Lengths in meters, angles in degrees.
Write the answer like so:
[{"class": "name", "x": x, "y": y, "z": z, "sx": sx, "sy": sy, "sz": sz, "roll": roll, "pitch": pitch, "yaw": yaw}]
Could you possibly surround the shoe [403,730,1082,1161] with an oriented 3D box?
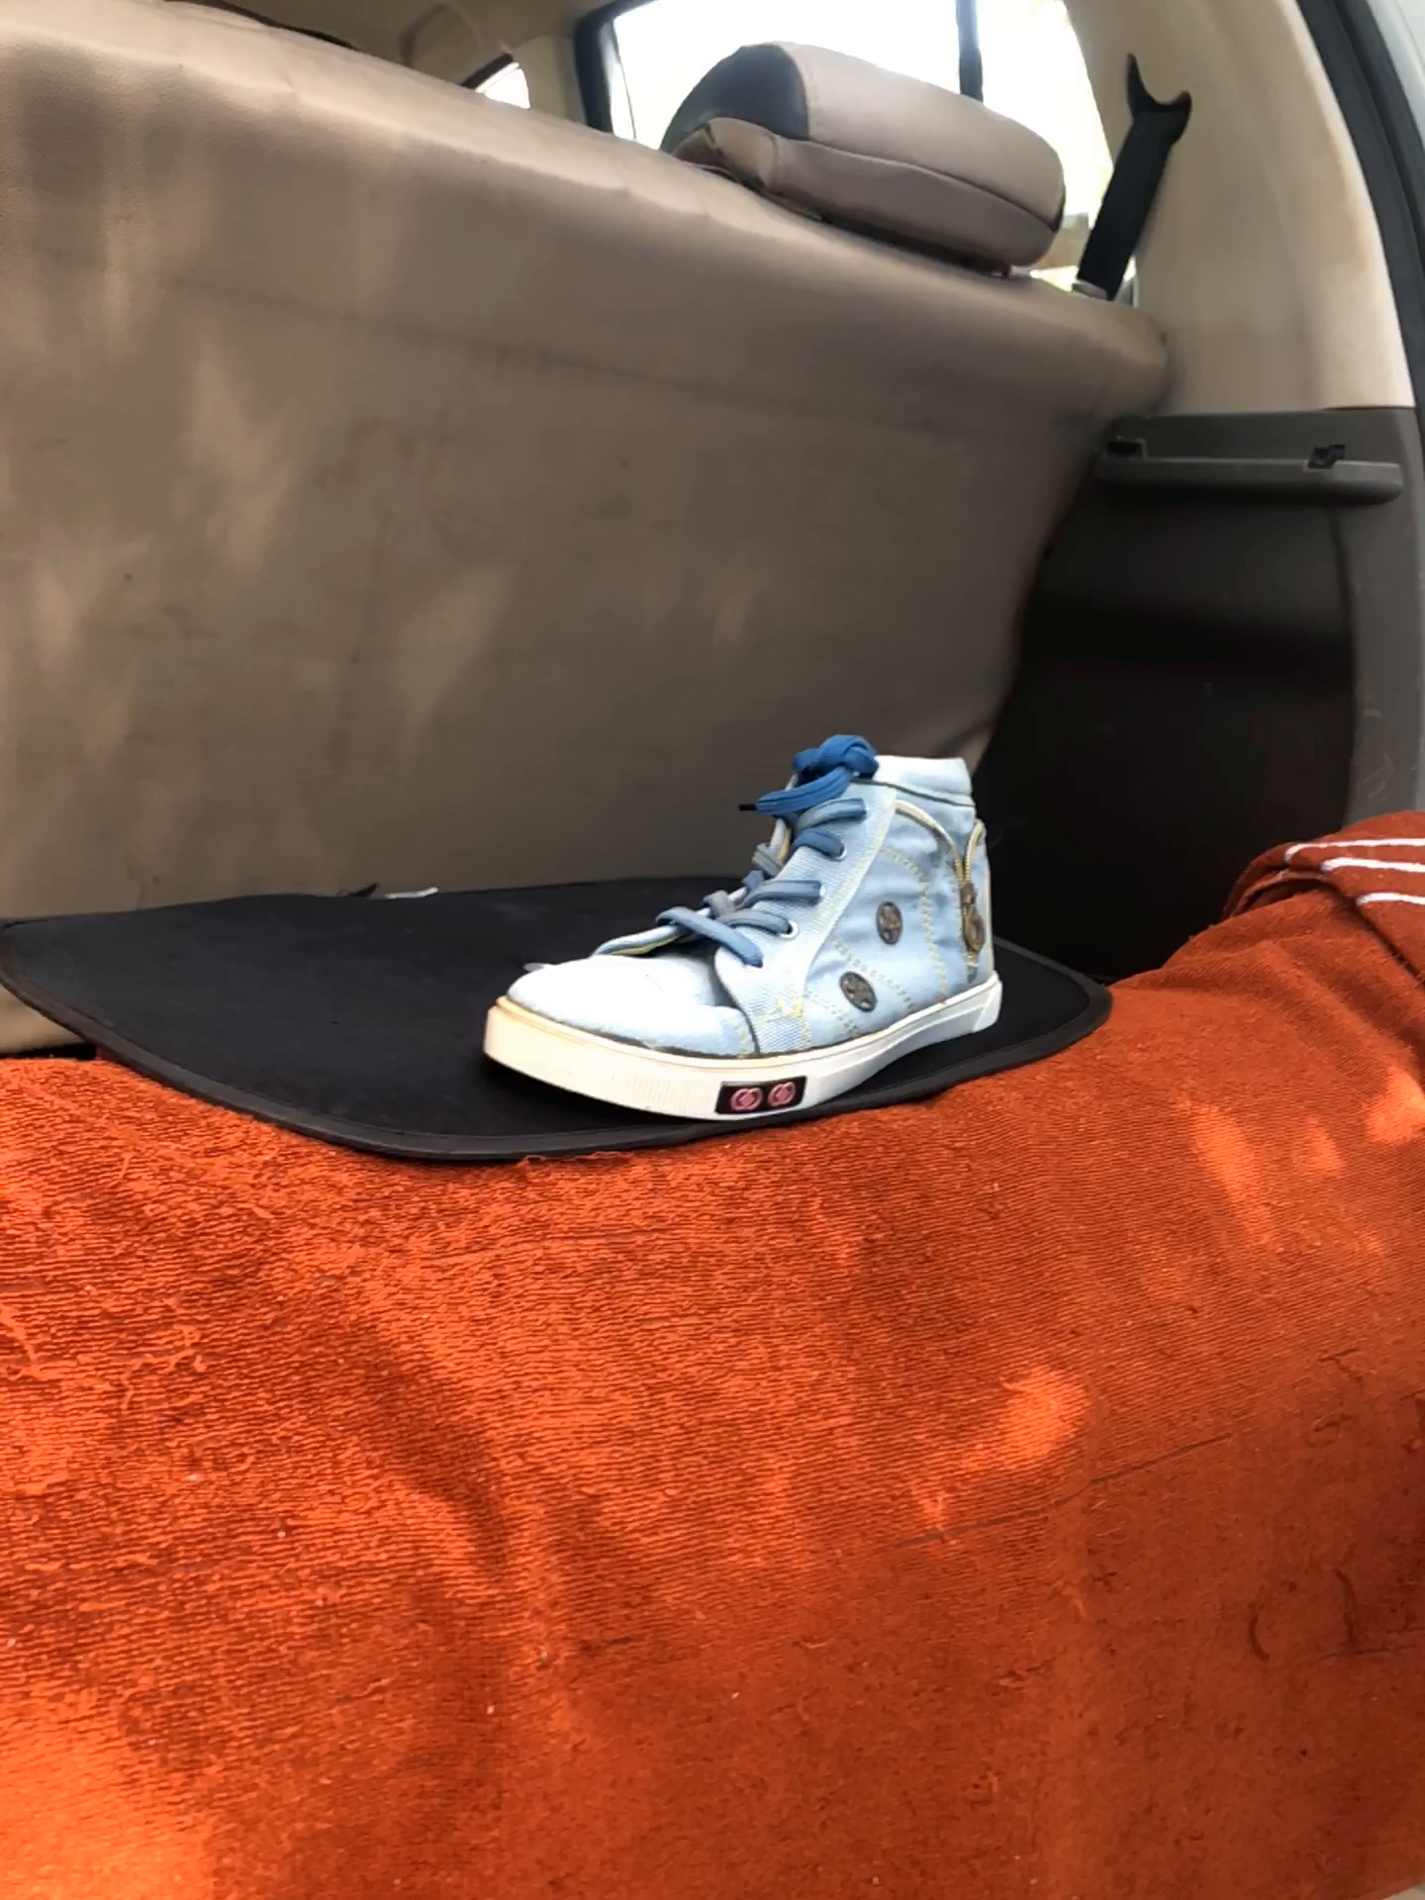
[{"class": "shoe", "x": 0.024, "y": -0.018, "z": 0.593, "sx": 0.110, "sy": 0.110, "sz": 0.261, "roll": 18, "pitch": 17, "yaw": 34}]
